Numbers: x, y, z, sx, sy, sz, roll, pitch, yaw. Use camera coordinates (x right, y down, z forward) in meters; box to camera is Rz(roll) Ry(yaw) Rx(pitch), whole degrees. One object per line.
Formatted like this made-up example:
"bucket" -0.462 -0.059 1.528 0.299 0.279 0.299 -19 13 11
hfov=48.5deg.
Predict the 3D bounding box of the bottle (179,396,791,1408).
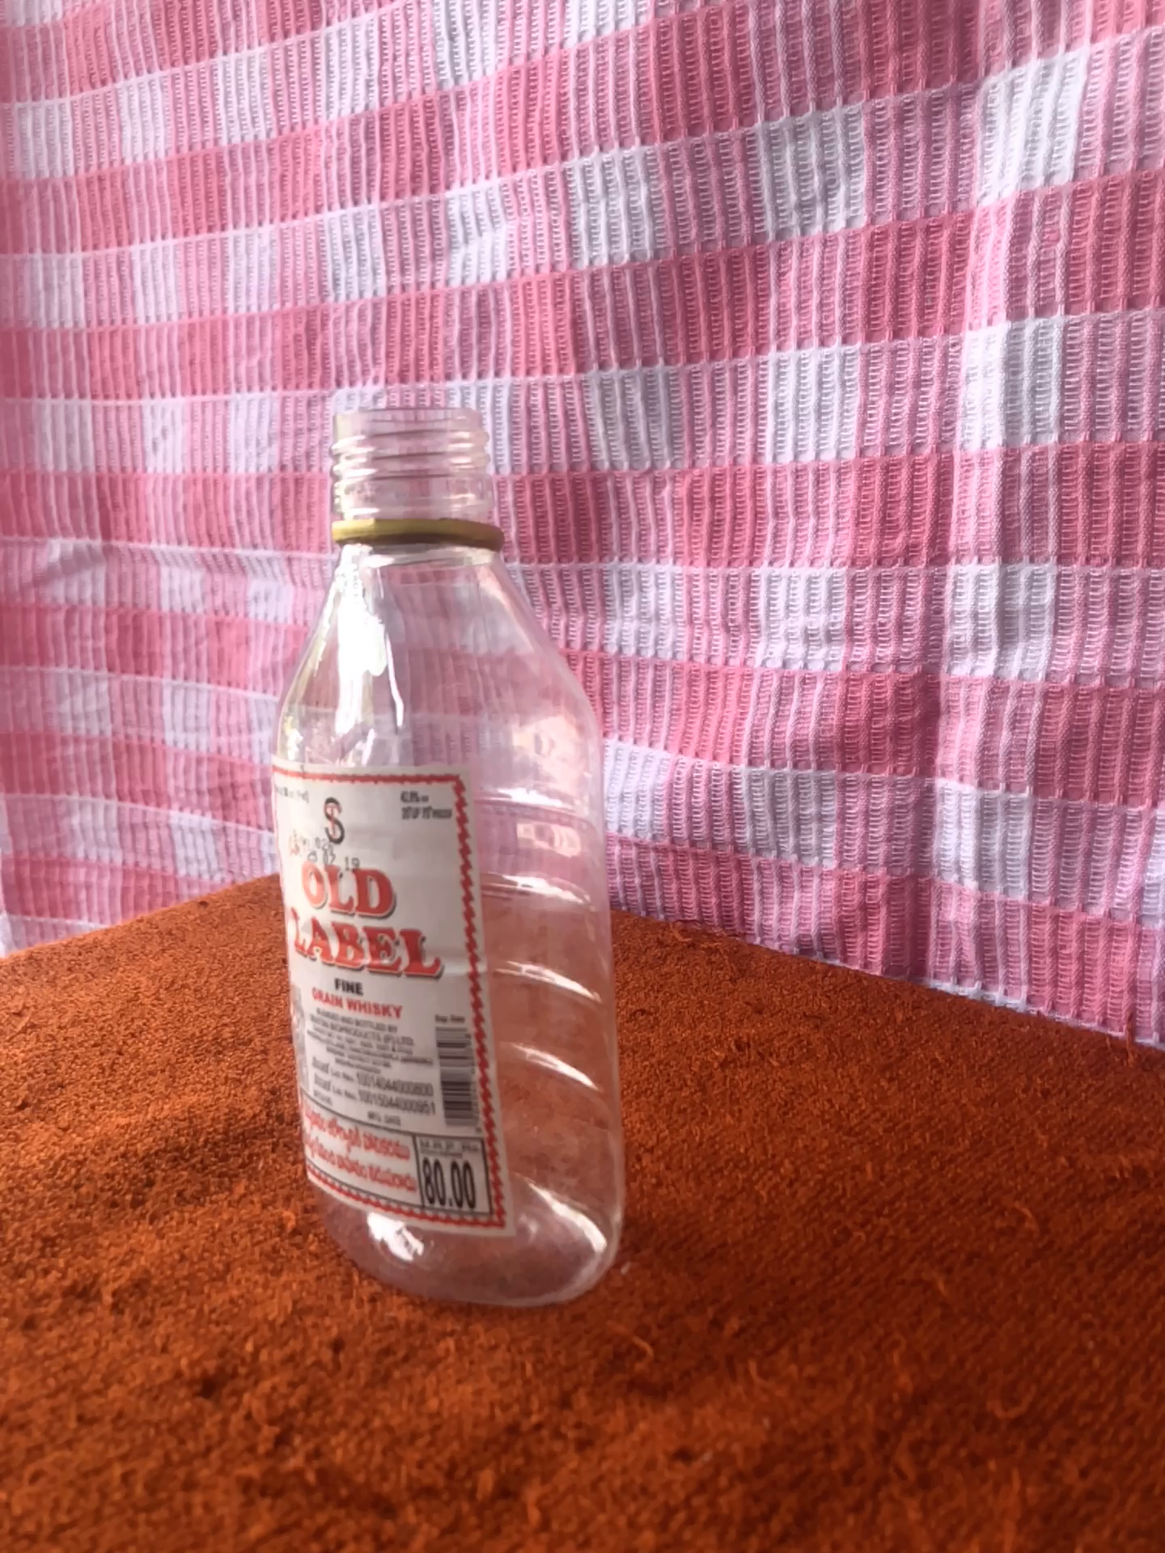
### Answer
"bottle" -0.013 0.012 0.200 0.070 0.130 0.050 8 17 43
